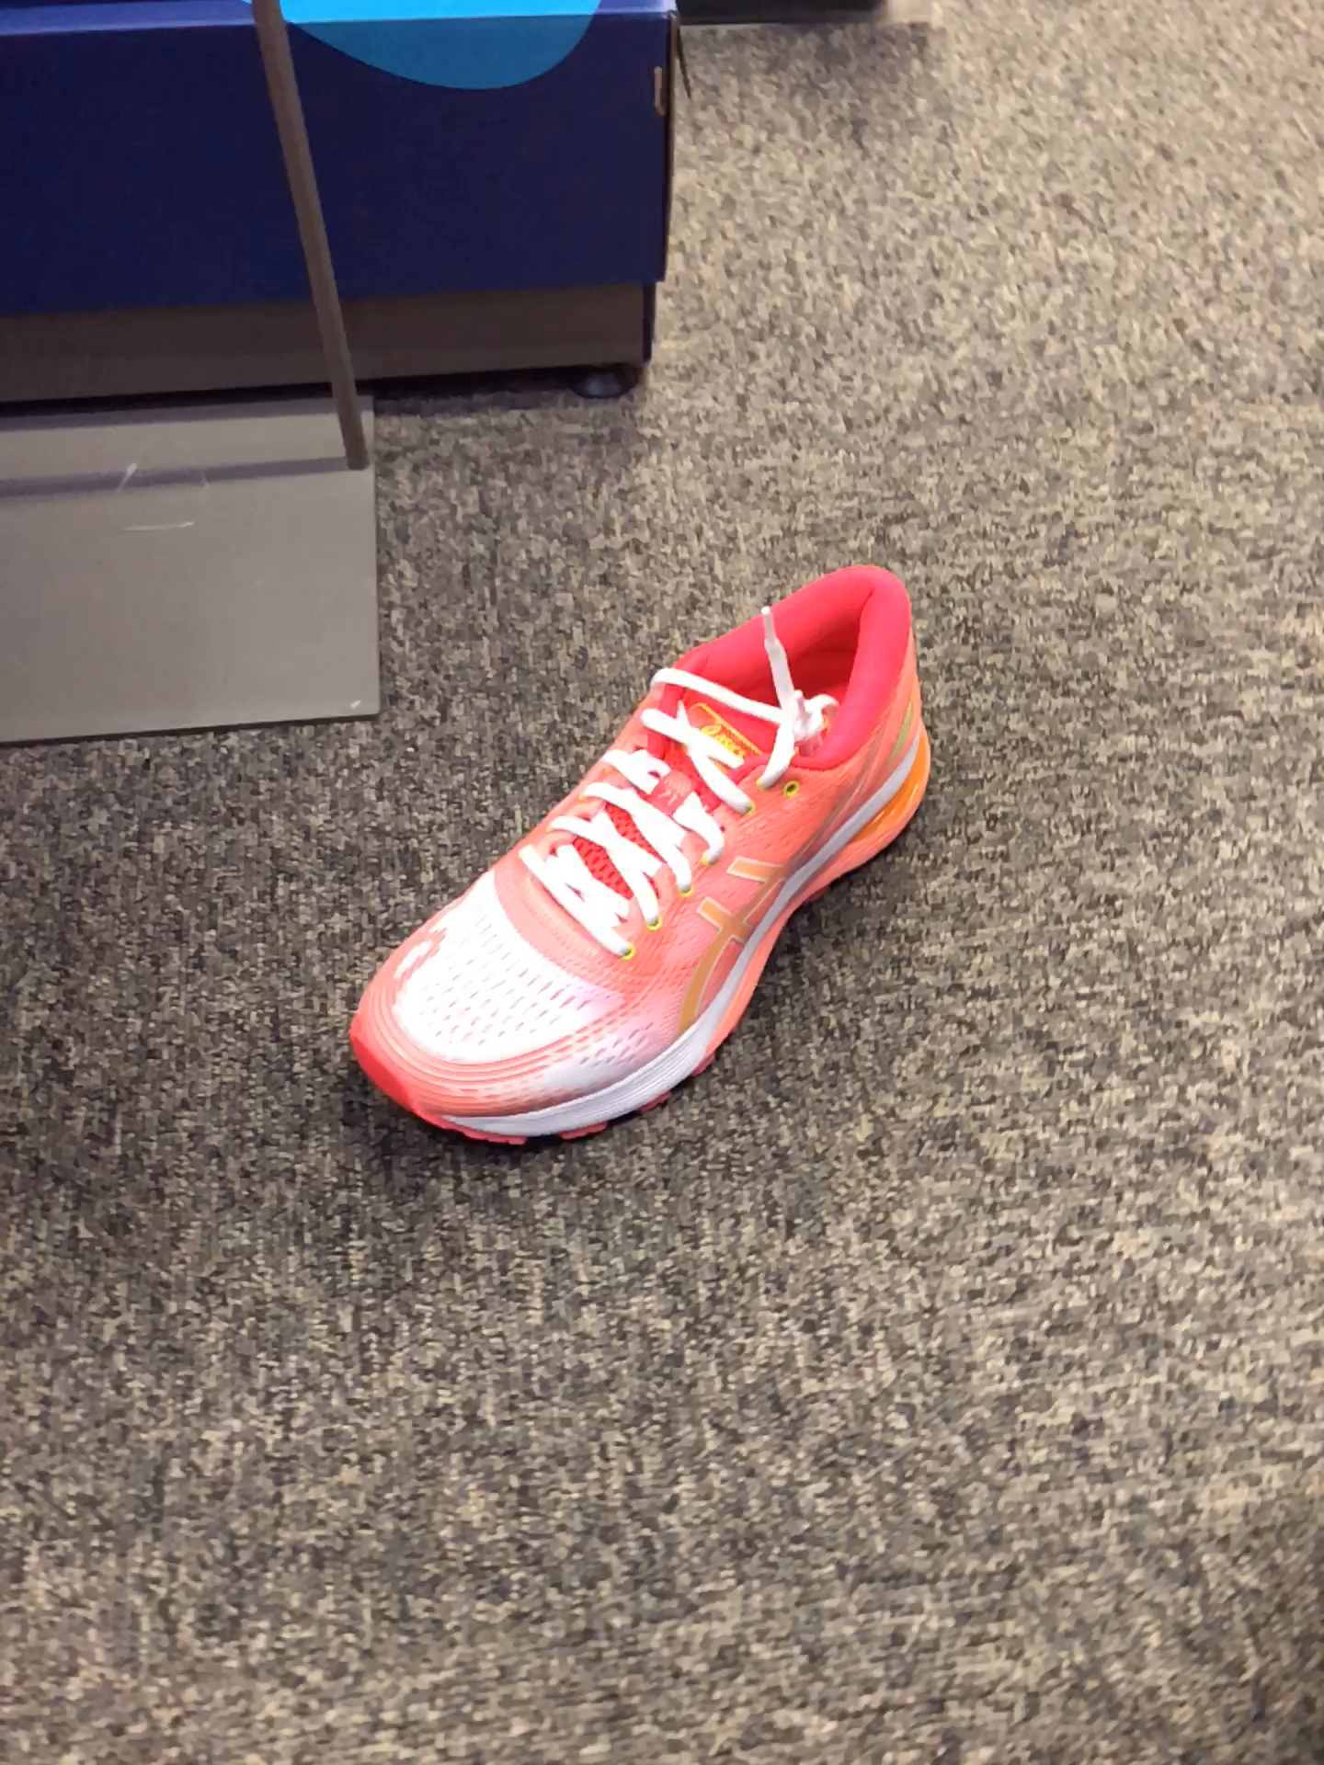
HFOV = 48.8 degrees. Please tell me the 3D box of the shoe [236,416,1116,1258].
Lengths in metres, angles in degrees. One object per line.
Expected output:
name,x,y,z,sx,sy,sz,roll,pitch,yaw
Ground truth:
shoe,0.013,-0.020,0.499,0.269,0.129,0.107,-38,66,-22
